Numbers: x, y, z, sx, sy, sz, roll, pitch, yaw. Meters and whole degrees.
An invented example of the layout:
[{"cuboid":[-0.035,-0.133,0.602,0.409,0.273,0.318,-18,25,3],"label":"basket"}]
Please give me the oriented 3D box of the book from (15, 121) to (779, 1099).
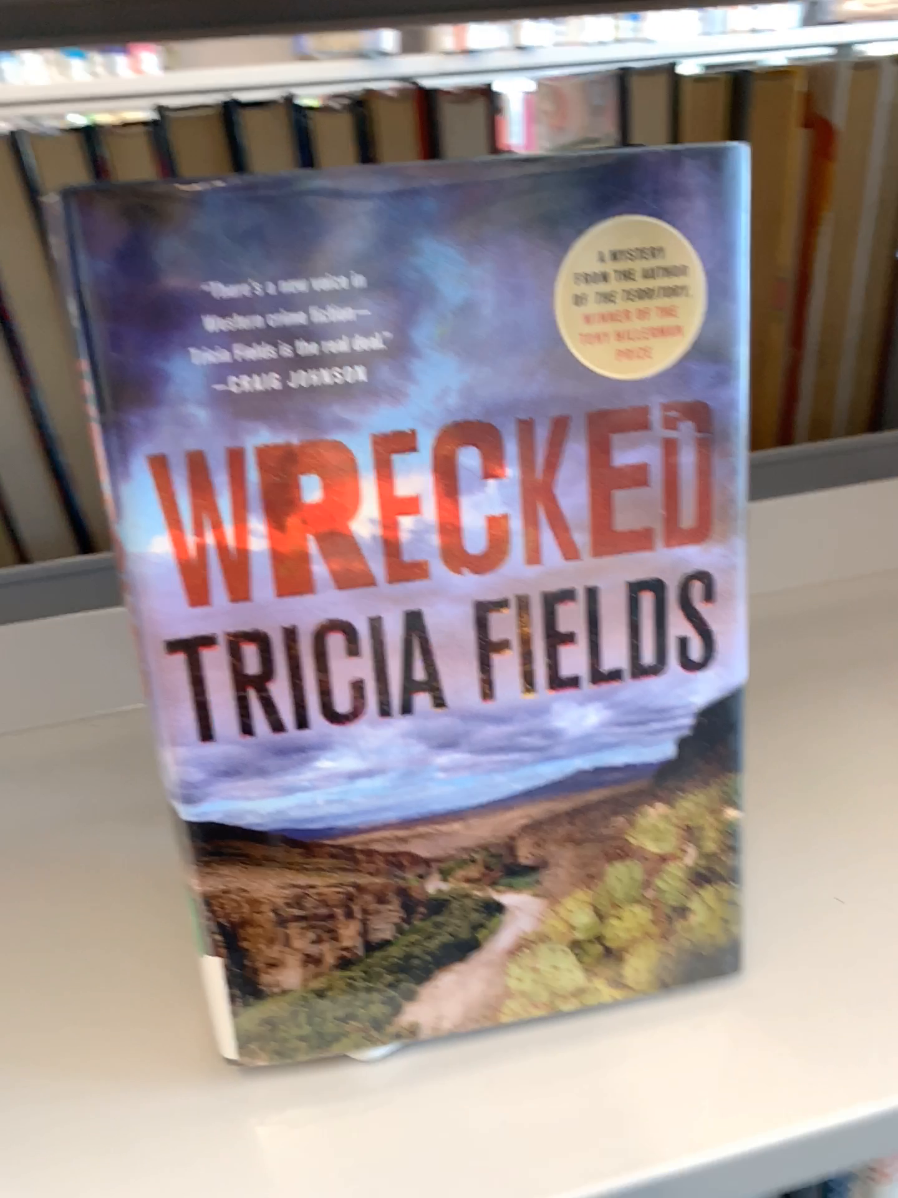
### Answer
[{"cuboid":[0.001,0.010,0.228,0.150,0.213,0.034,-8,17,-7],"label":"book"}]
